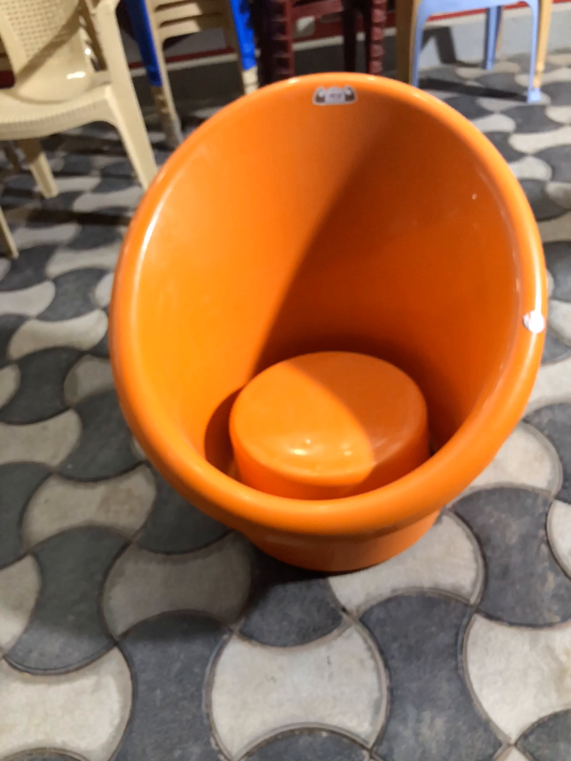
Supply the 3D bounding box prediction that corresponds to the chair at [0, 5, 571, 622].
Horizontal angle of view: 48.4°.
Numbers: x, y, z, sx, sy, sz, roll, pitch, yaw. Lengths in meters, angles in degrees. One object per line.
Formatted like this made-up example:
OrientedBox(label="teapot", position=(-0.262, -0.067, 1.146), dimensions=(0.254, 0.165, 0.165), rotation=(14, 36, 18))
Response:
OrientedBox(label="chair", position=(0.028, -0.135, 1.045), dimensions=(0.660, 0.666, 0.725), rotation=(-1, 39, 10))
